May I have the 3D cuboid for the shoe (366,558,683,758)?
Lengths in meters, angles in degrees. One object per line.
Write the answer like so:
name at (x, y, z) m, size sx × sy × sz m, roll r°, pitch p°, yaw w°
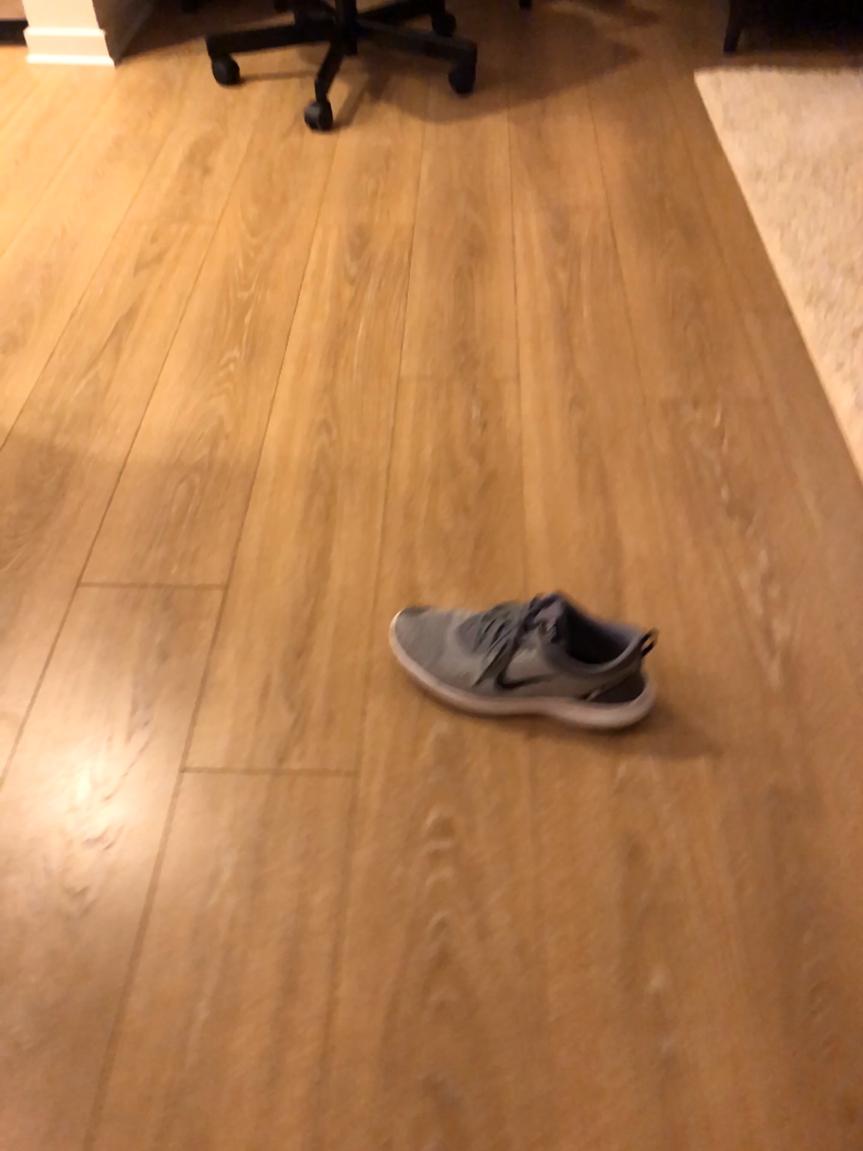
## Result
shoe at (0.103, 0.087, 1.053) m, size 0.320 × 0.080 × 0.141 m, roll 11°, pitch 49°, yaw 10°
